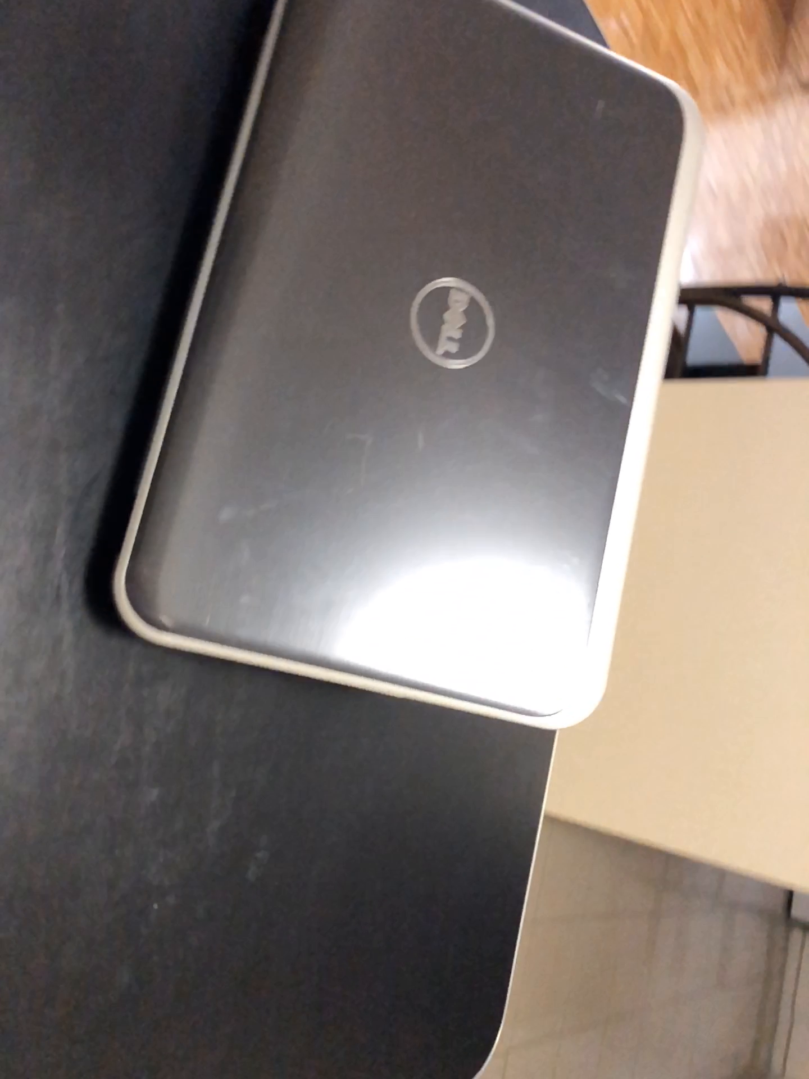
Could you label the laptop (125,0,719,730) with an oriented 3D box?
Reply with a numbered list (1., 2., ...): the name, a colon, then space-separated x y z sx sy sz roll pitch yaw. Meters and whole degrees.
1. laptop: 0.037 -0.100 0.483 0.241 0.137 0.356 24 74 -50
